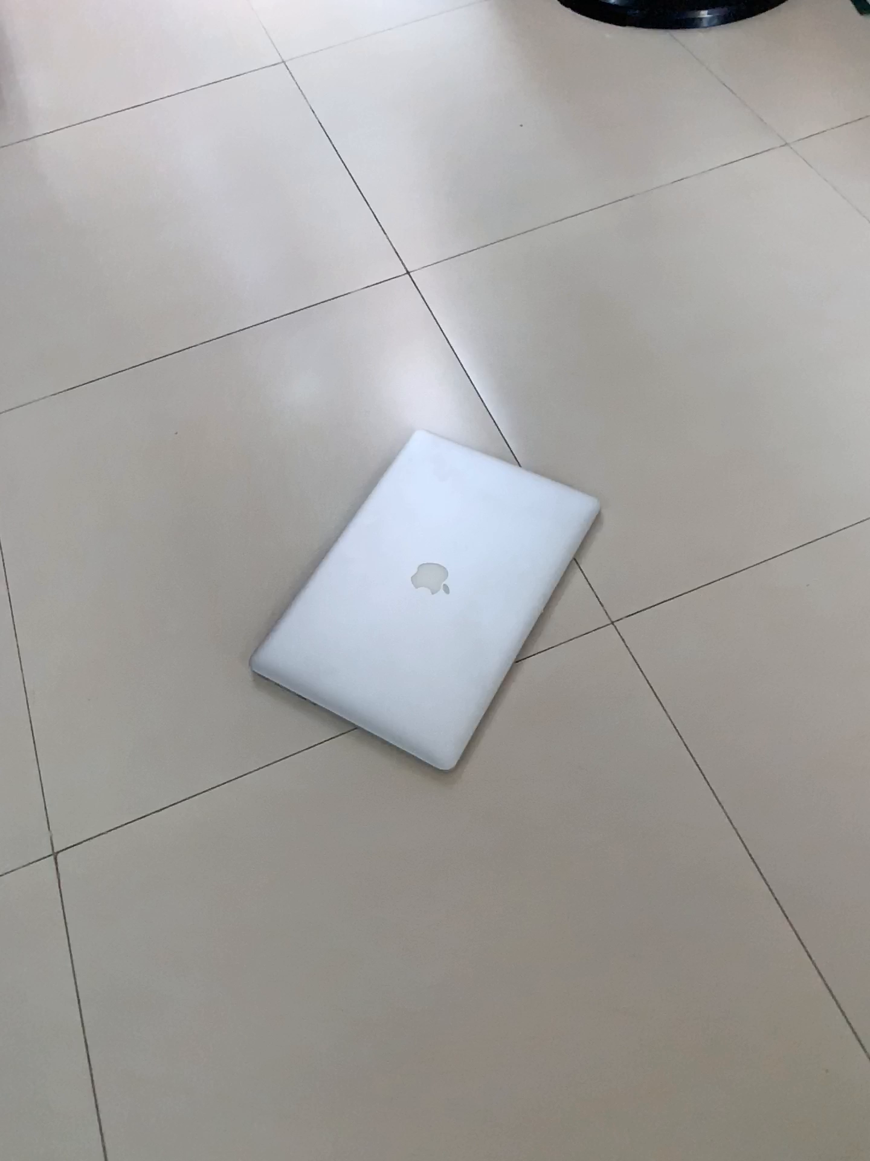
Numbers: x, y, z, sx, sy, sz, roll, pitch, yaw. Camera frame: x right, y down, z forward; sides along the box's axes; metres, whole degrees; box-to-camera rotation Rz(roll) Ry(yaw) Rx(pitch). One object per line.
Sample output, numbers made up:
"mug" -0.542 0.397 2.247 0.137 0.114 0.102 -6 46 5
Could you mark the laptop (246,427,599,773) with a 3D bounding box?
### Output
"laptop" -0.006 0.000 0.963 0.239 0.001 0.356 24 65 18
